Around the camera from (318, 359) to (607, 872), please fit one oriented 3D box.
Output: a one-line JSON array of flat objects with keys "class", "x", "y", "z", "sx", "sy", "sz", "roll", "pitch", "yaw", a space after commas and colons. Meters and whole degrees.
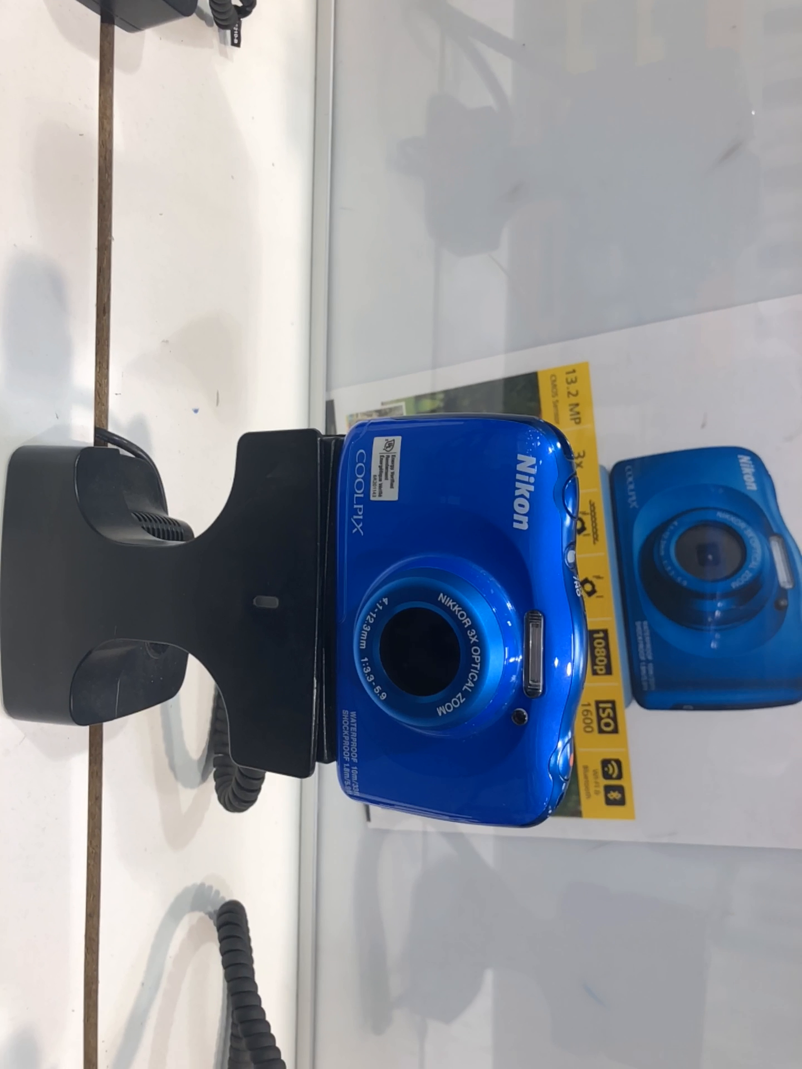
[{"class": "camera", "x": 0.019, "y": 0.020, "z": 0.264, "sx": 0.050, "sy": 0.070, "sz": 0.130, "roll": -2, "pitch": 92, "yaw": -64}]
